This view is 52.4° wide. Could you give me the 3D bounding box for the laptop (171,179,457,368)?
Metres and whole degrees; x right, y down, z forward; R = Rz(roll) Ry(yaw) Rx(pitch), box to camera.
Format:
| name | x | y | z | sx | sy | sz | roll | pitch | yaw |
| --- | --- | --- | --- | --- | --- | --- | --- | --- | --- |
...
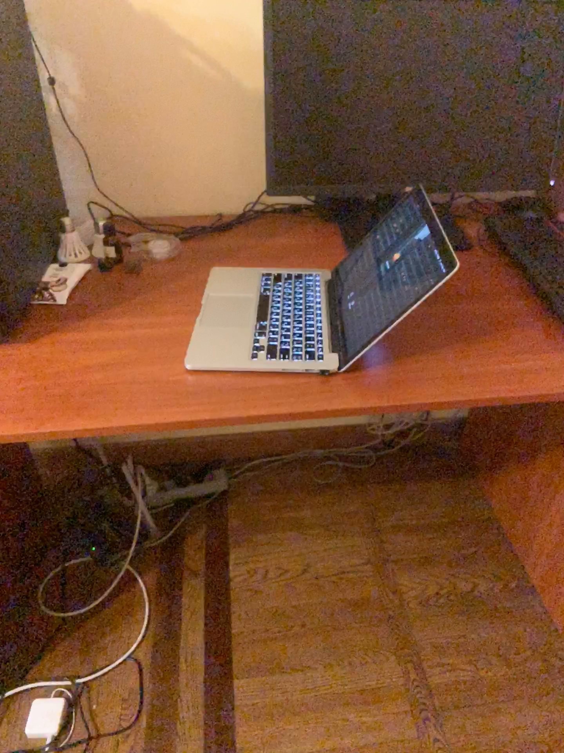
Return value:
| name | x | y | z | sx | sy | sz | roll | pitch | yaw |
| --- | --- | --- | --- | --- | --- | --- | --- | --- | --- |
| laptop | 0.042 | -0.159 | 0.820 | 0.333 | 0.139 | 0.287 | 0 | 37 | 1 |
